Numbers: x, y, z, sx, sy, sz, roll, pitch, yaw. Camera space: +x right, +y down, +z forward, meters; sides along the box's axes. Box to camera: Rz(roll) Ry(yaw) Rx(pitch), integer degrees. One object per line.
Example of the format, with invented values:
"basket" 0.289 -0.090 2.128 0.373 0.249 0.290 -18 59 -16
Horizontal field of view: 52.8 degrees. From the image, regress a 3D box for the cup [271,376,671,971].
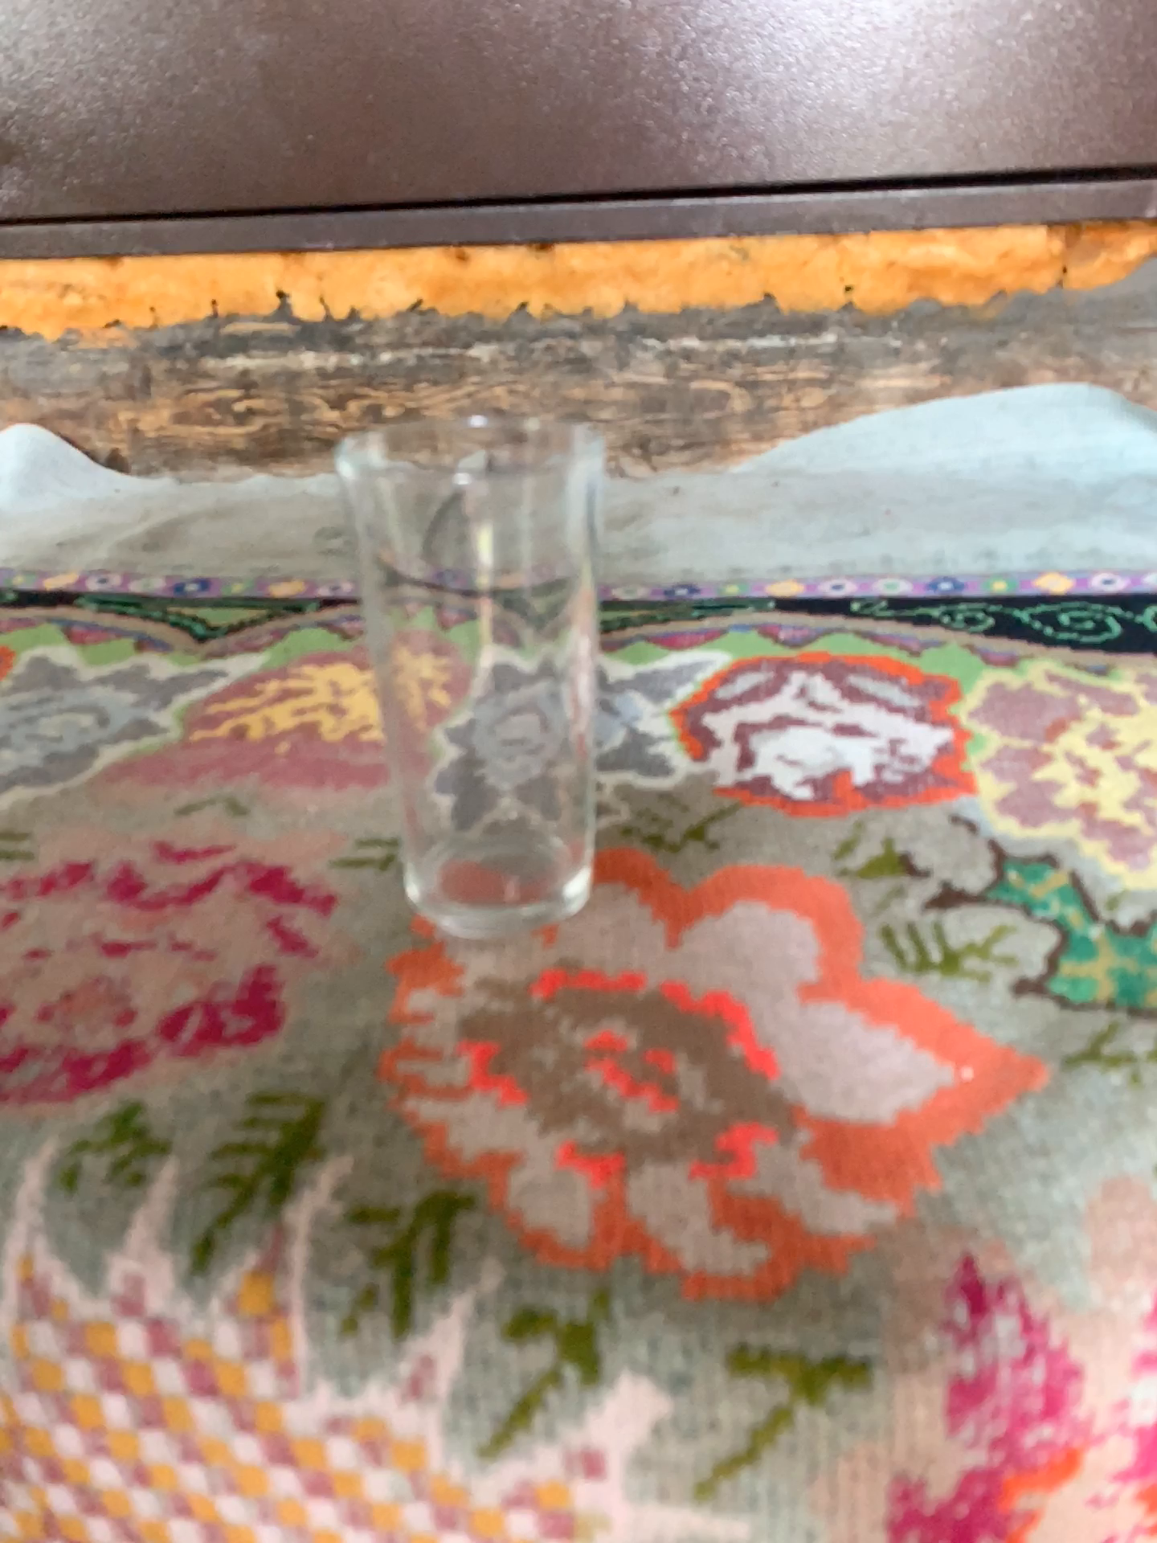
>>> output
"cup" -0.020 -0.026 0.277 0.060 0.119 0.060 -3 27 1
